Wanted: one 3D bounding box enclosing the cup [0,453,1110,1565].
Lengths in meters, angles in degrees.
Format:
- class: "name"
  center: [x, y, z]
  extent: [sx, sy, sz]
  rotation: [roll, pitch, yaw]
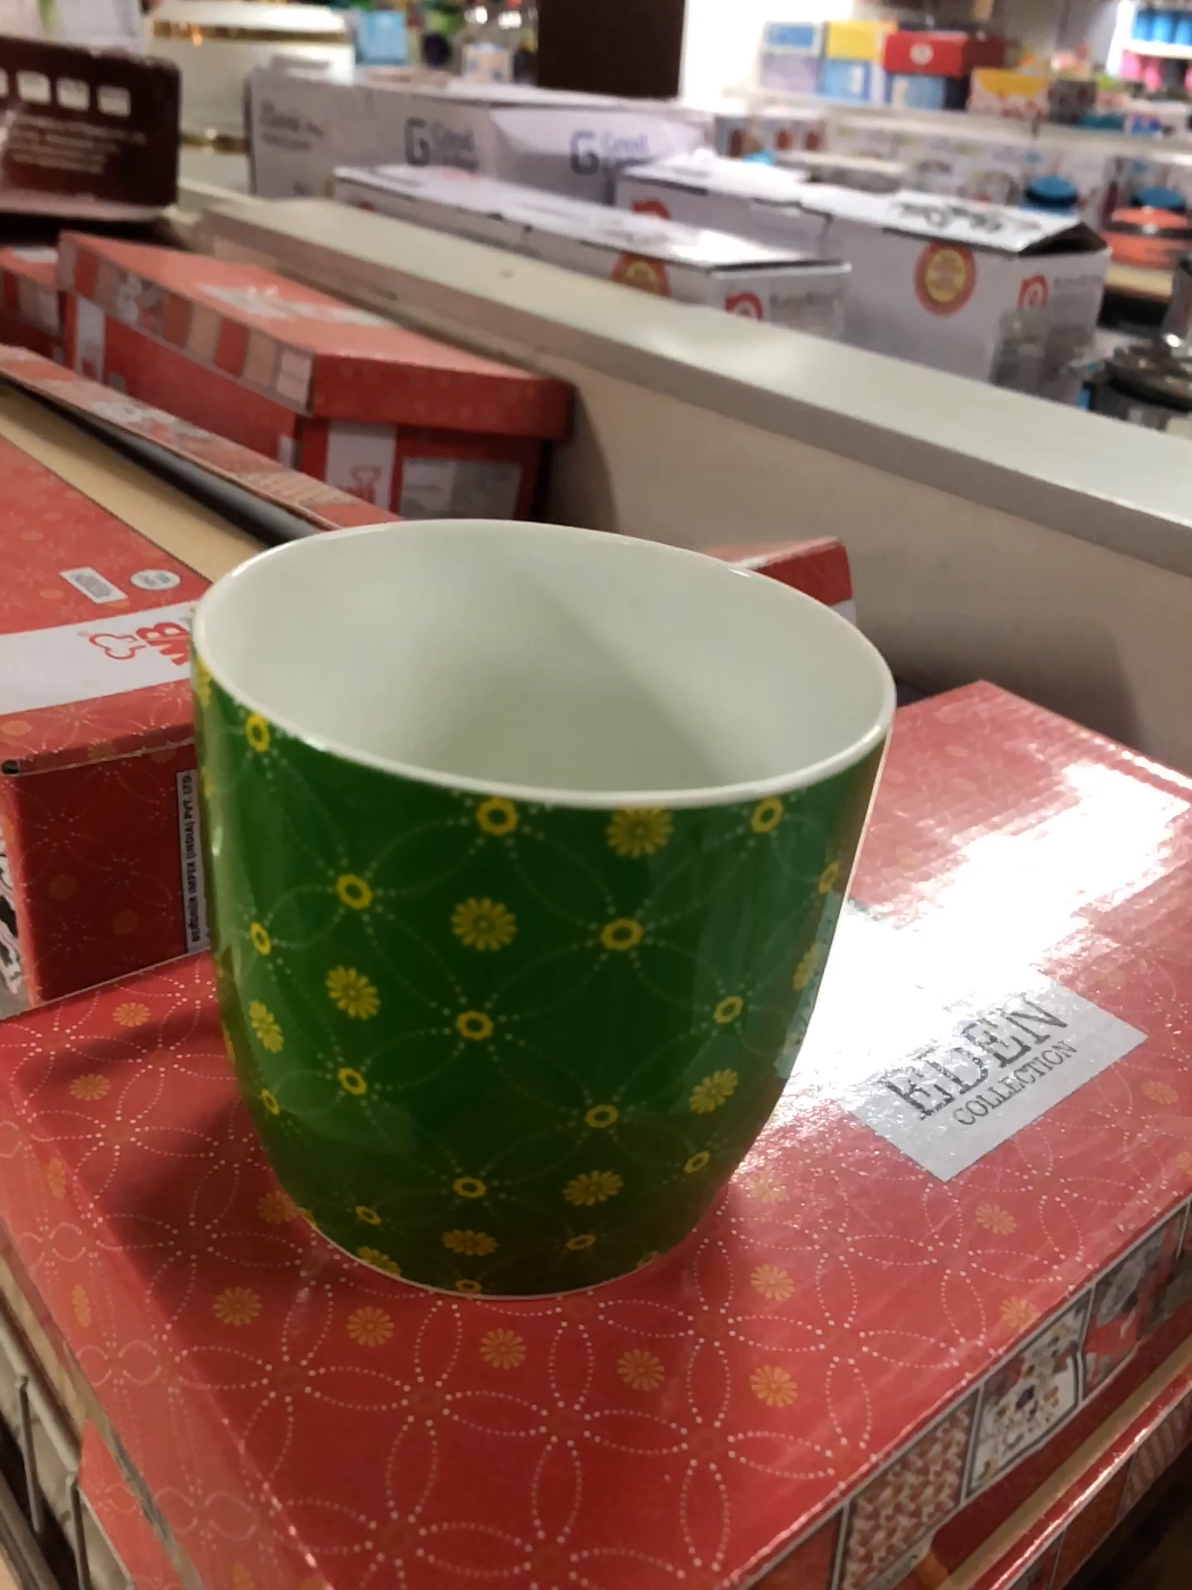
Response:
- class: "cup"
  center: [-0.015, 0.011, 0.189]
  extent: [0.090, 0.080, 0.120]
  rotation: [-18, 36, -36]
